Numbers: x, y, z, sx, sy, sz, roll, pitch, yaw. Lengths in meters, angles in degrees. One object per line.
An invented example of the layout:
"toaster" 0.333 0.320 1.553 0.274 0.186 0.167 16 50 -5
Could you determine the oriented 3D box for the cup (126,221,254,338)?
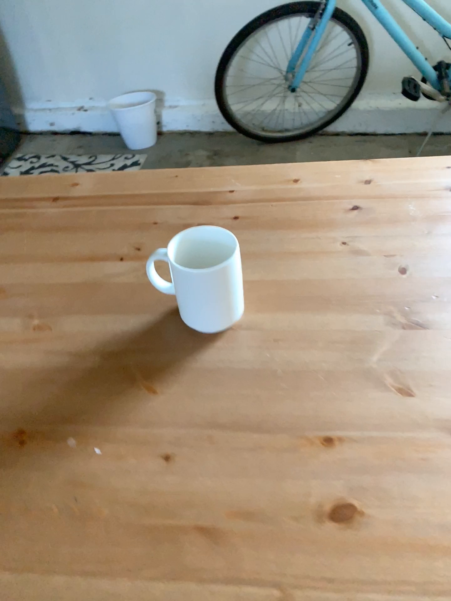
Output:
"cup" -0.037 -0.028 0.584 0.130 0.100 0.100 4 47 11
